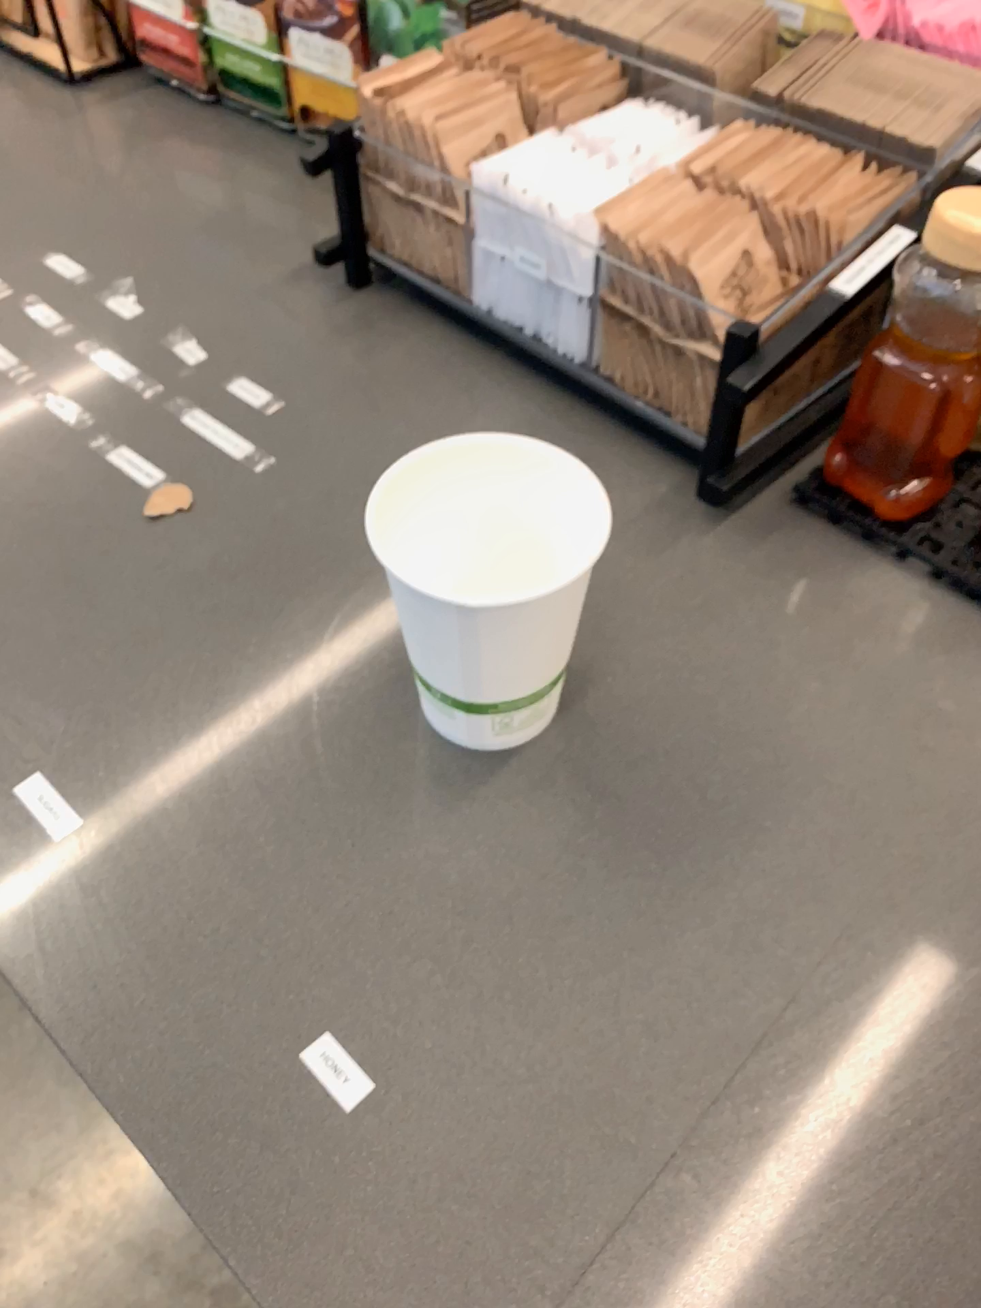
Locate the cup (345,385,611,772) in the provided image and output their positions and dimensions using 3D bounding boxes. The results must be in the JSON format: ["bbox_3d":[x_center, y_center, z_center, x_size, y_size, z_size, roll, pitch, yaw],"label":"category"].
[{"bbox_3d":[-0.007,-0.026,0.395,0.080,0.119,0.080,0,50,0],"label":"cup"}]
